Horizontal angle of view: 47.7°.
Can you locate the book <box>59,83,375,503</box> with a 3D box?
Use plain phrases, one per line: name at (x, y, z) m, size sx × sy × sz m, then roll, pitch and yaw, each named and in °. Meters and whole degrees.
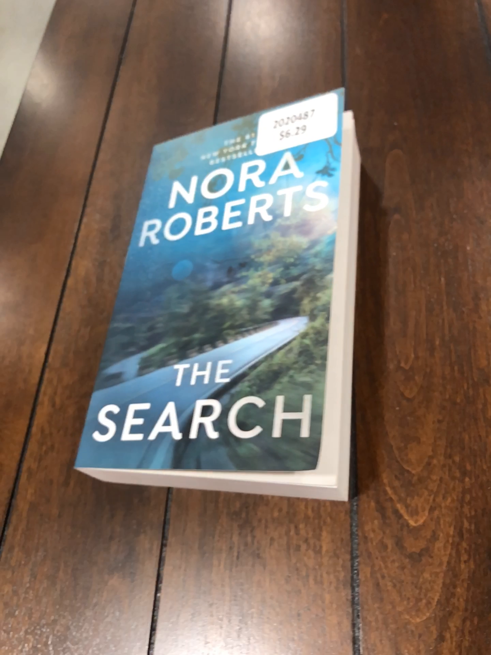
book at (-0.004, -0.016, 0.252) m, size 0.108 × 0.050 × 0.170 m, roll -6°, pitch 61°, yaw 27°
